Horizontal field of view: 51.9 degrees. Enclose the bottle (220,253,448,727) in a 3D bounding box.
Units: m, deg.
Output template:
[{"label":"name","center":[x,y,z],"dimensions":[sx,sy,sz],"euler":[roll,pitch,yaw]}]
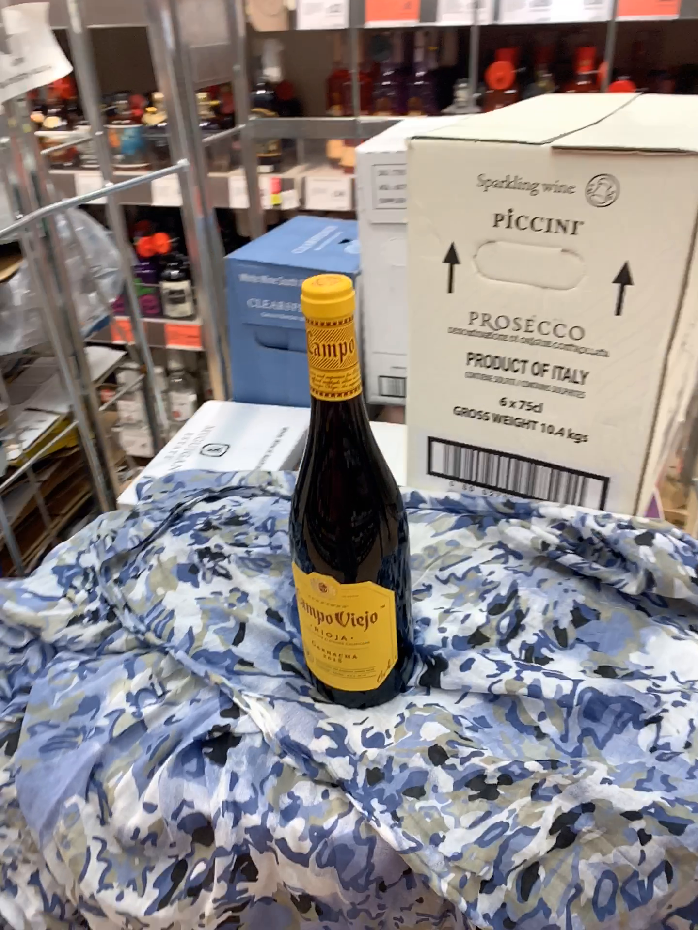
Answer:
[{"label":"bottle","center":[-0.001,0.021,0.440],"dimensions":[0.090,0.270,0.091],"euler":[-1,31,1]}]
